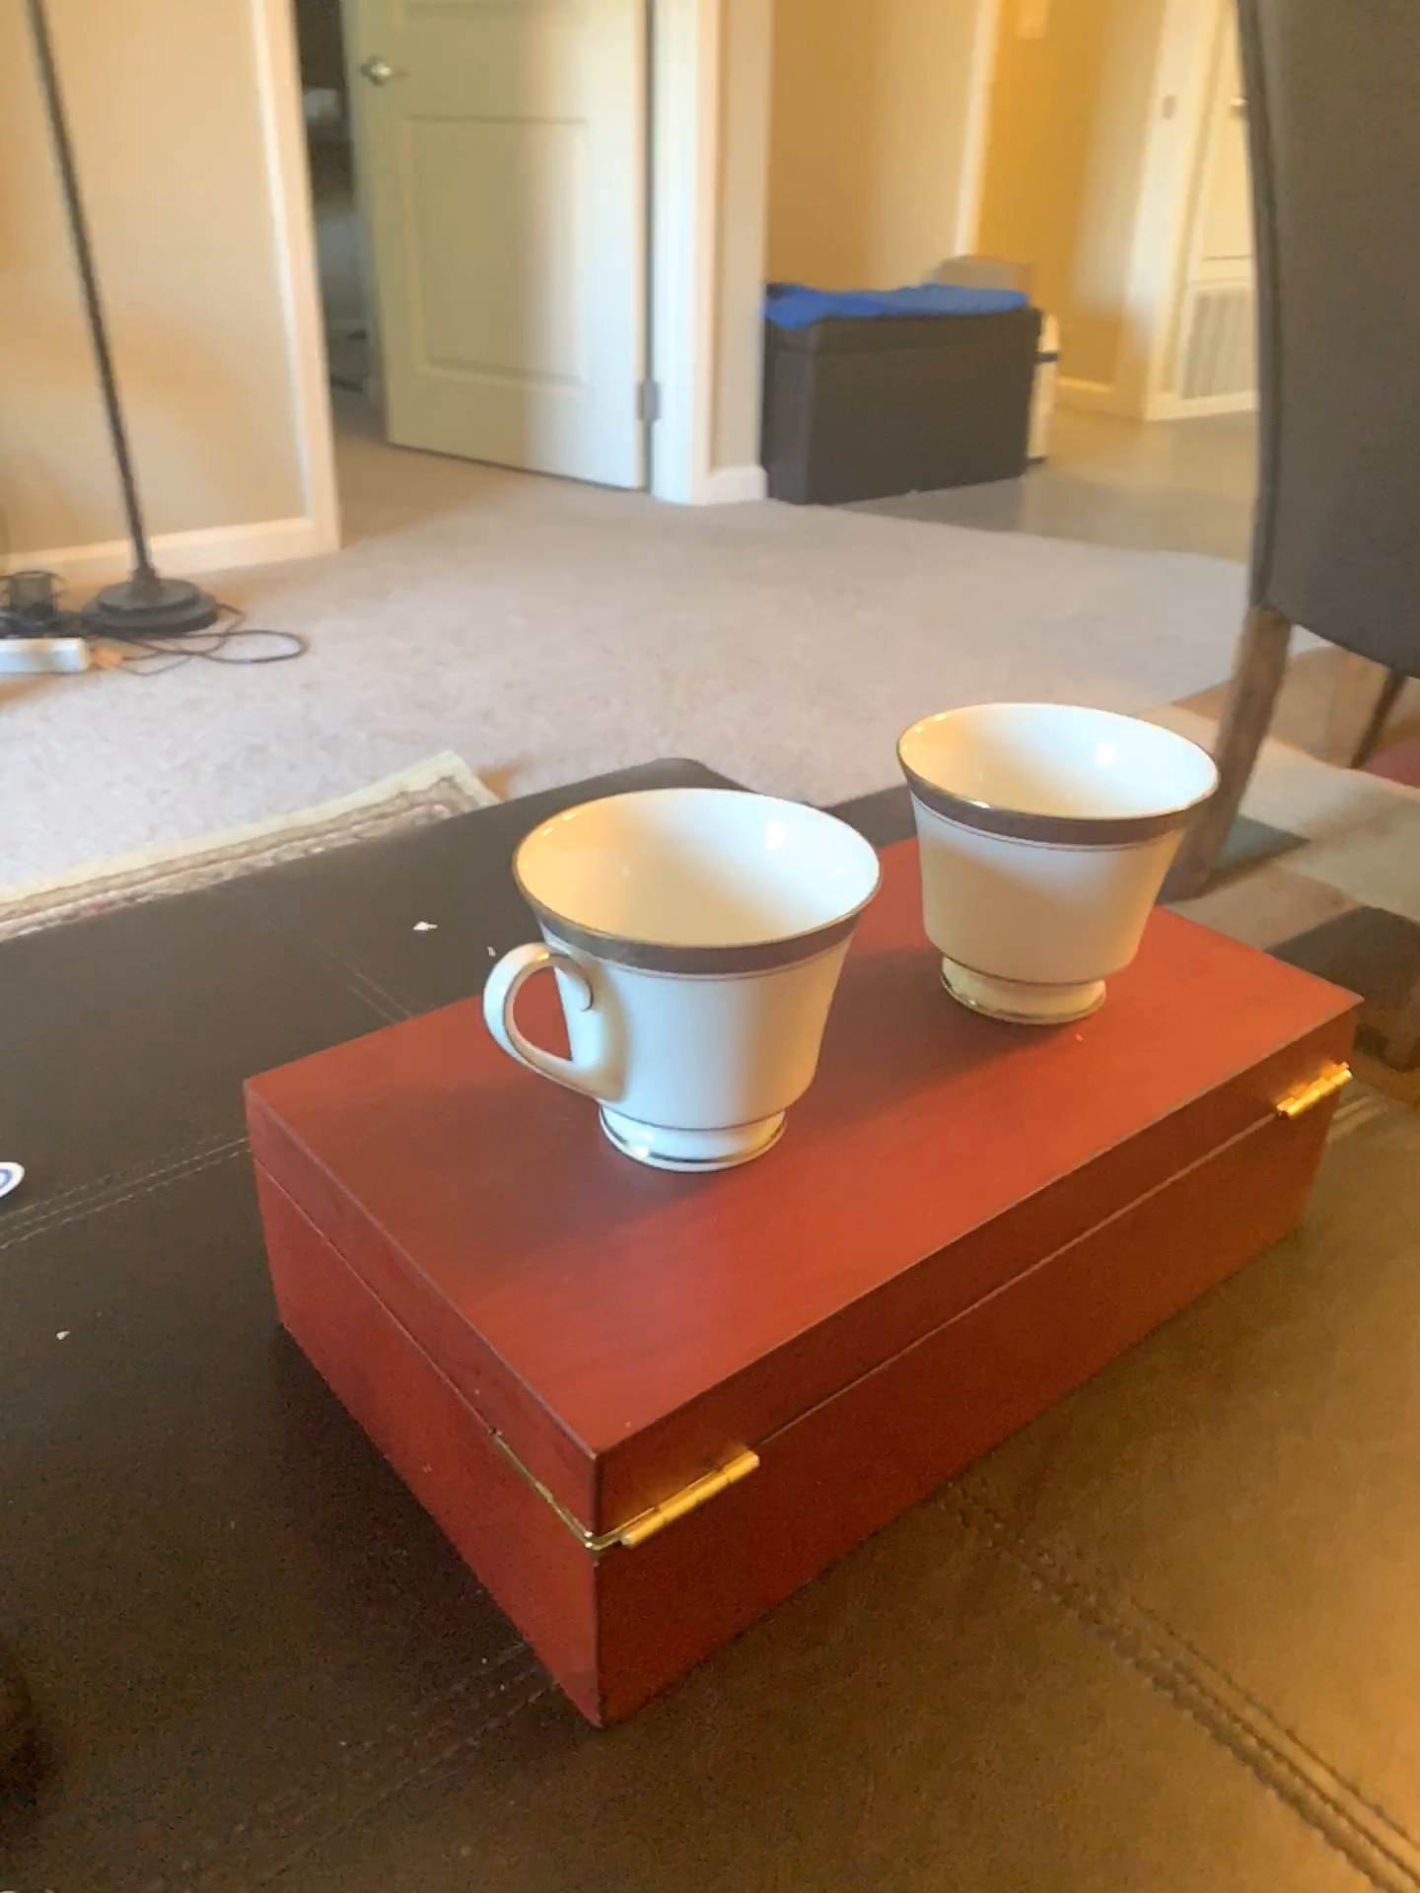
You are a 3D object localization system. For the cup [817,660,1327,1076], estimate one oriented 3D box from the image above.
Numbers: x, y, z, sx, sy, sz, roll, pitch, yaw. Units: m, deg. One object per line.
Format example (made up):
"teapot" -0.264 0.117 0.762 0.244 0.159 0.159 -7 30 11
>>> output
"cup" 0.105 -0.030 0.435 0.110 0.070 0.090 -20 36 -33

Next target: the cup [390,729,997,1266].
"cup" -0.005 0.004 0.358 0.110 0.070 0.090 -20 35 -33
